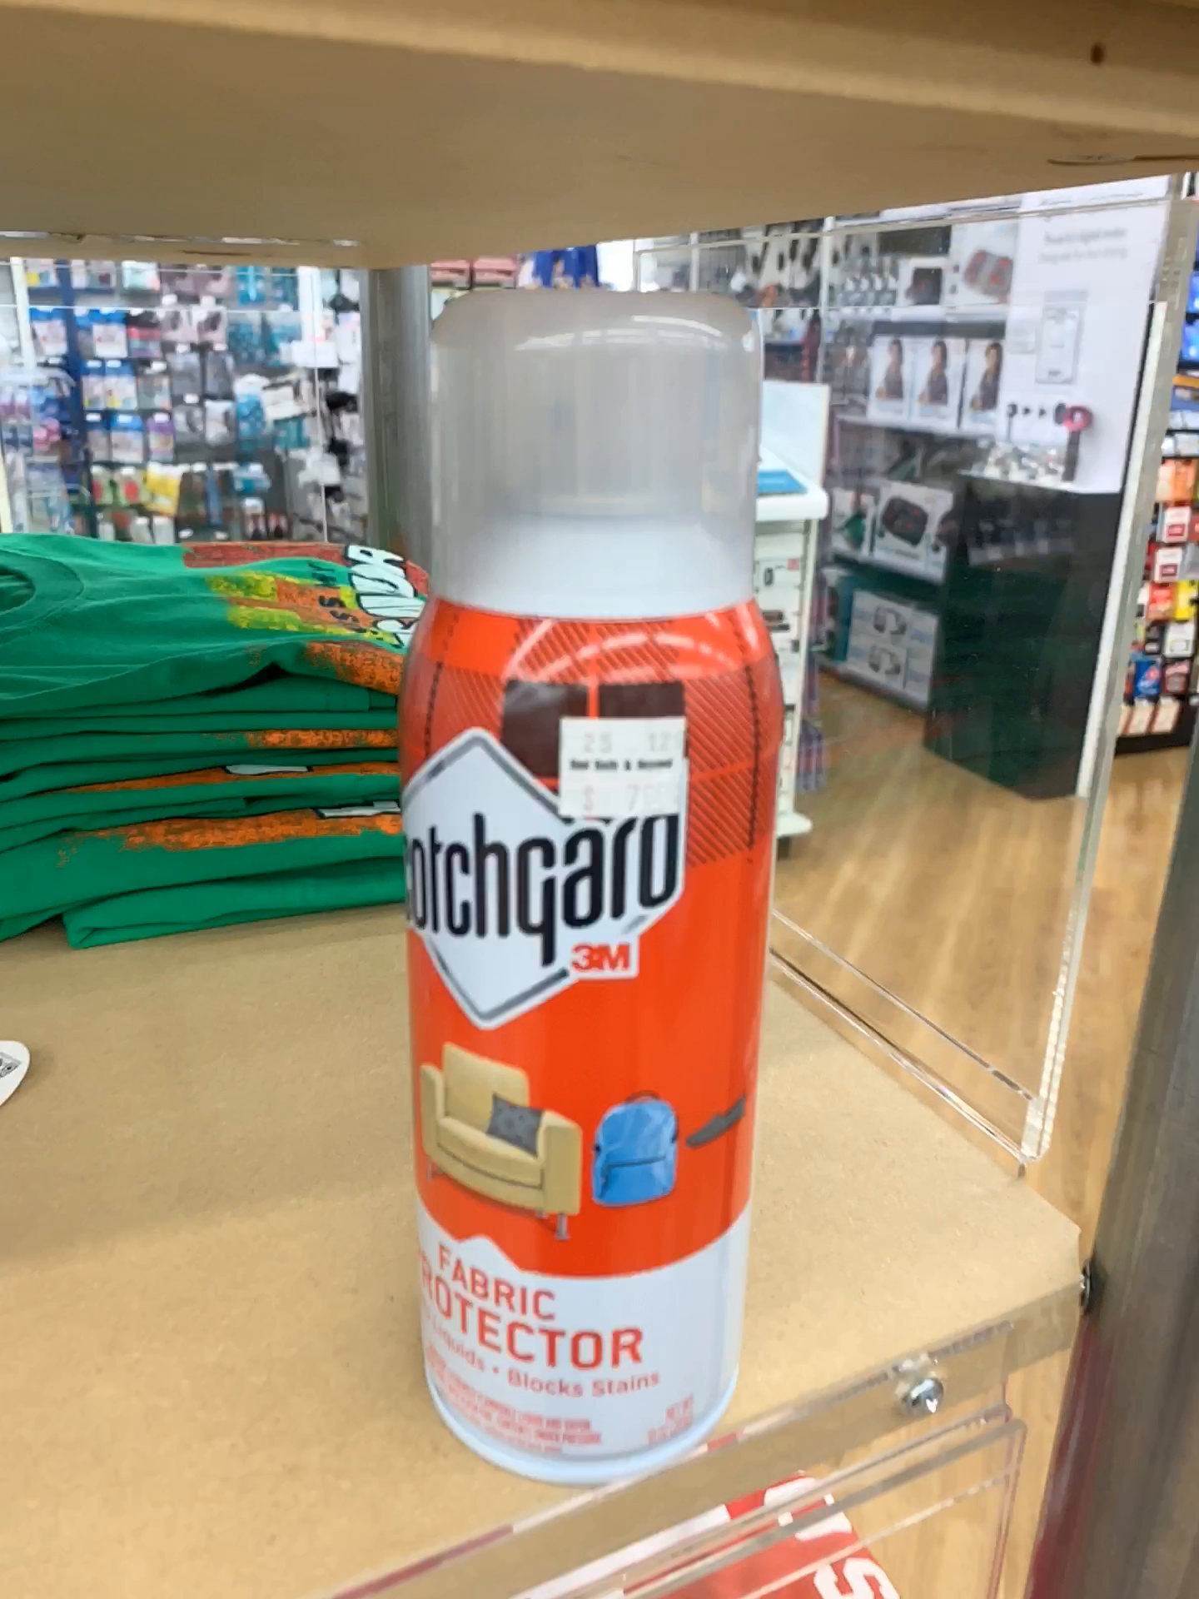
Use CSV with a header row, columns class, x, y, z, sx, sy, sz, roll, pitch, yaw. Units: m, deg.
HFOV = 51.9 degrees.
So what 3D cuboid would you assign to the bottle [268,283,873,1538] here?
class,x,y,z,sx,sy,sz,roll,pitch,yaw
bottle,-0.004,0.018,0.226,0.069,0.206,0.067,1,20,0
